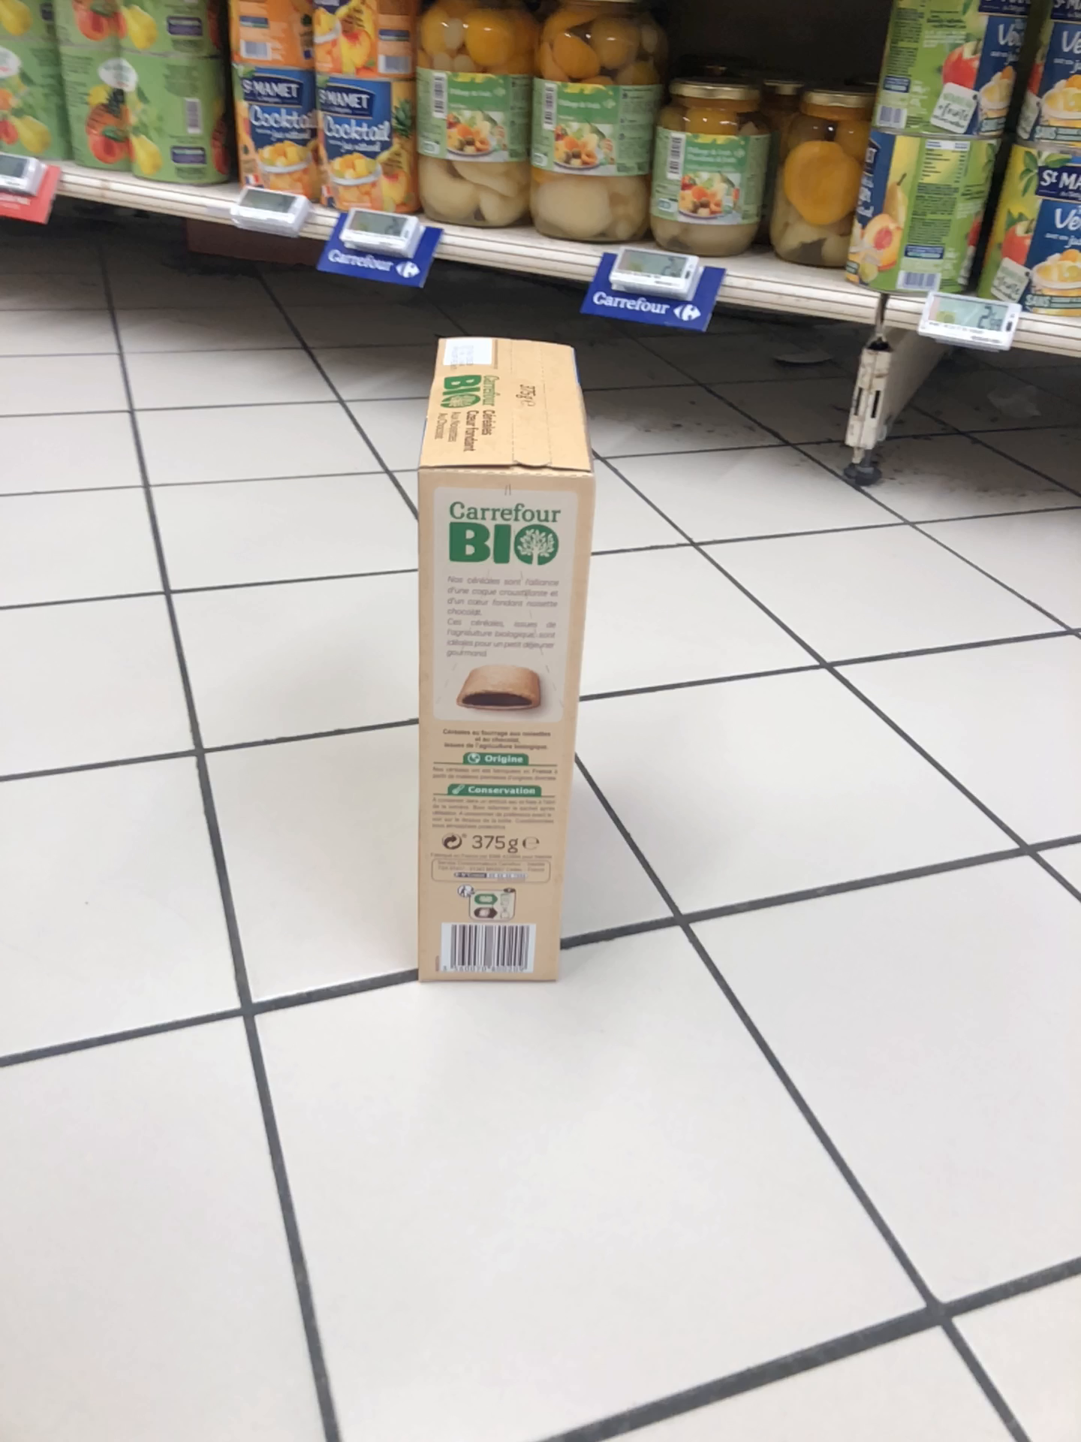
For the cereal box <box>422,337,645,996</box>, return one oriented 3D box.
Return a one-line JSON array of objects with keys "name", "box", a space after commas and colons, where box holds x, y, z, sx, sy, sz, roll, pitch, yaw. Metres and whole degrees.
[{"name": "cereal box", "box": [-0.010, -0.027, 0.515, 0.070, 0.229, 0.171, 2, 31, -3]}]
